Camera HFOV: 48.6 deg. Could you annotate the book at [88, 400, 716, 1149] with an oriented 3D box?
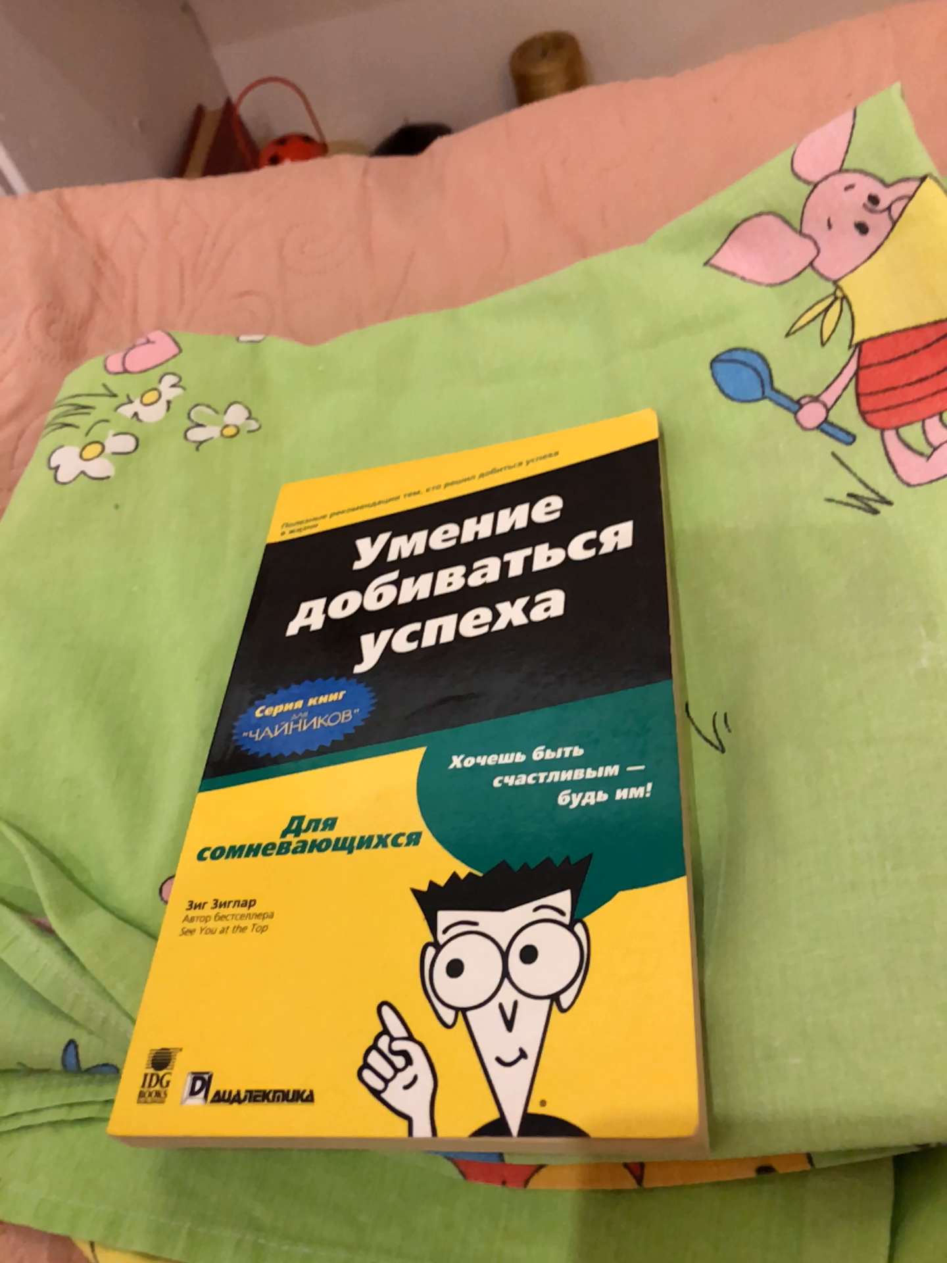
[{"bbox_3d":[-0.011,0.023,0.261,0.125,0.015,0.192,-9,50,17],"label":"book"}]
